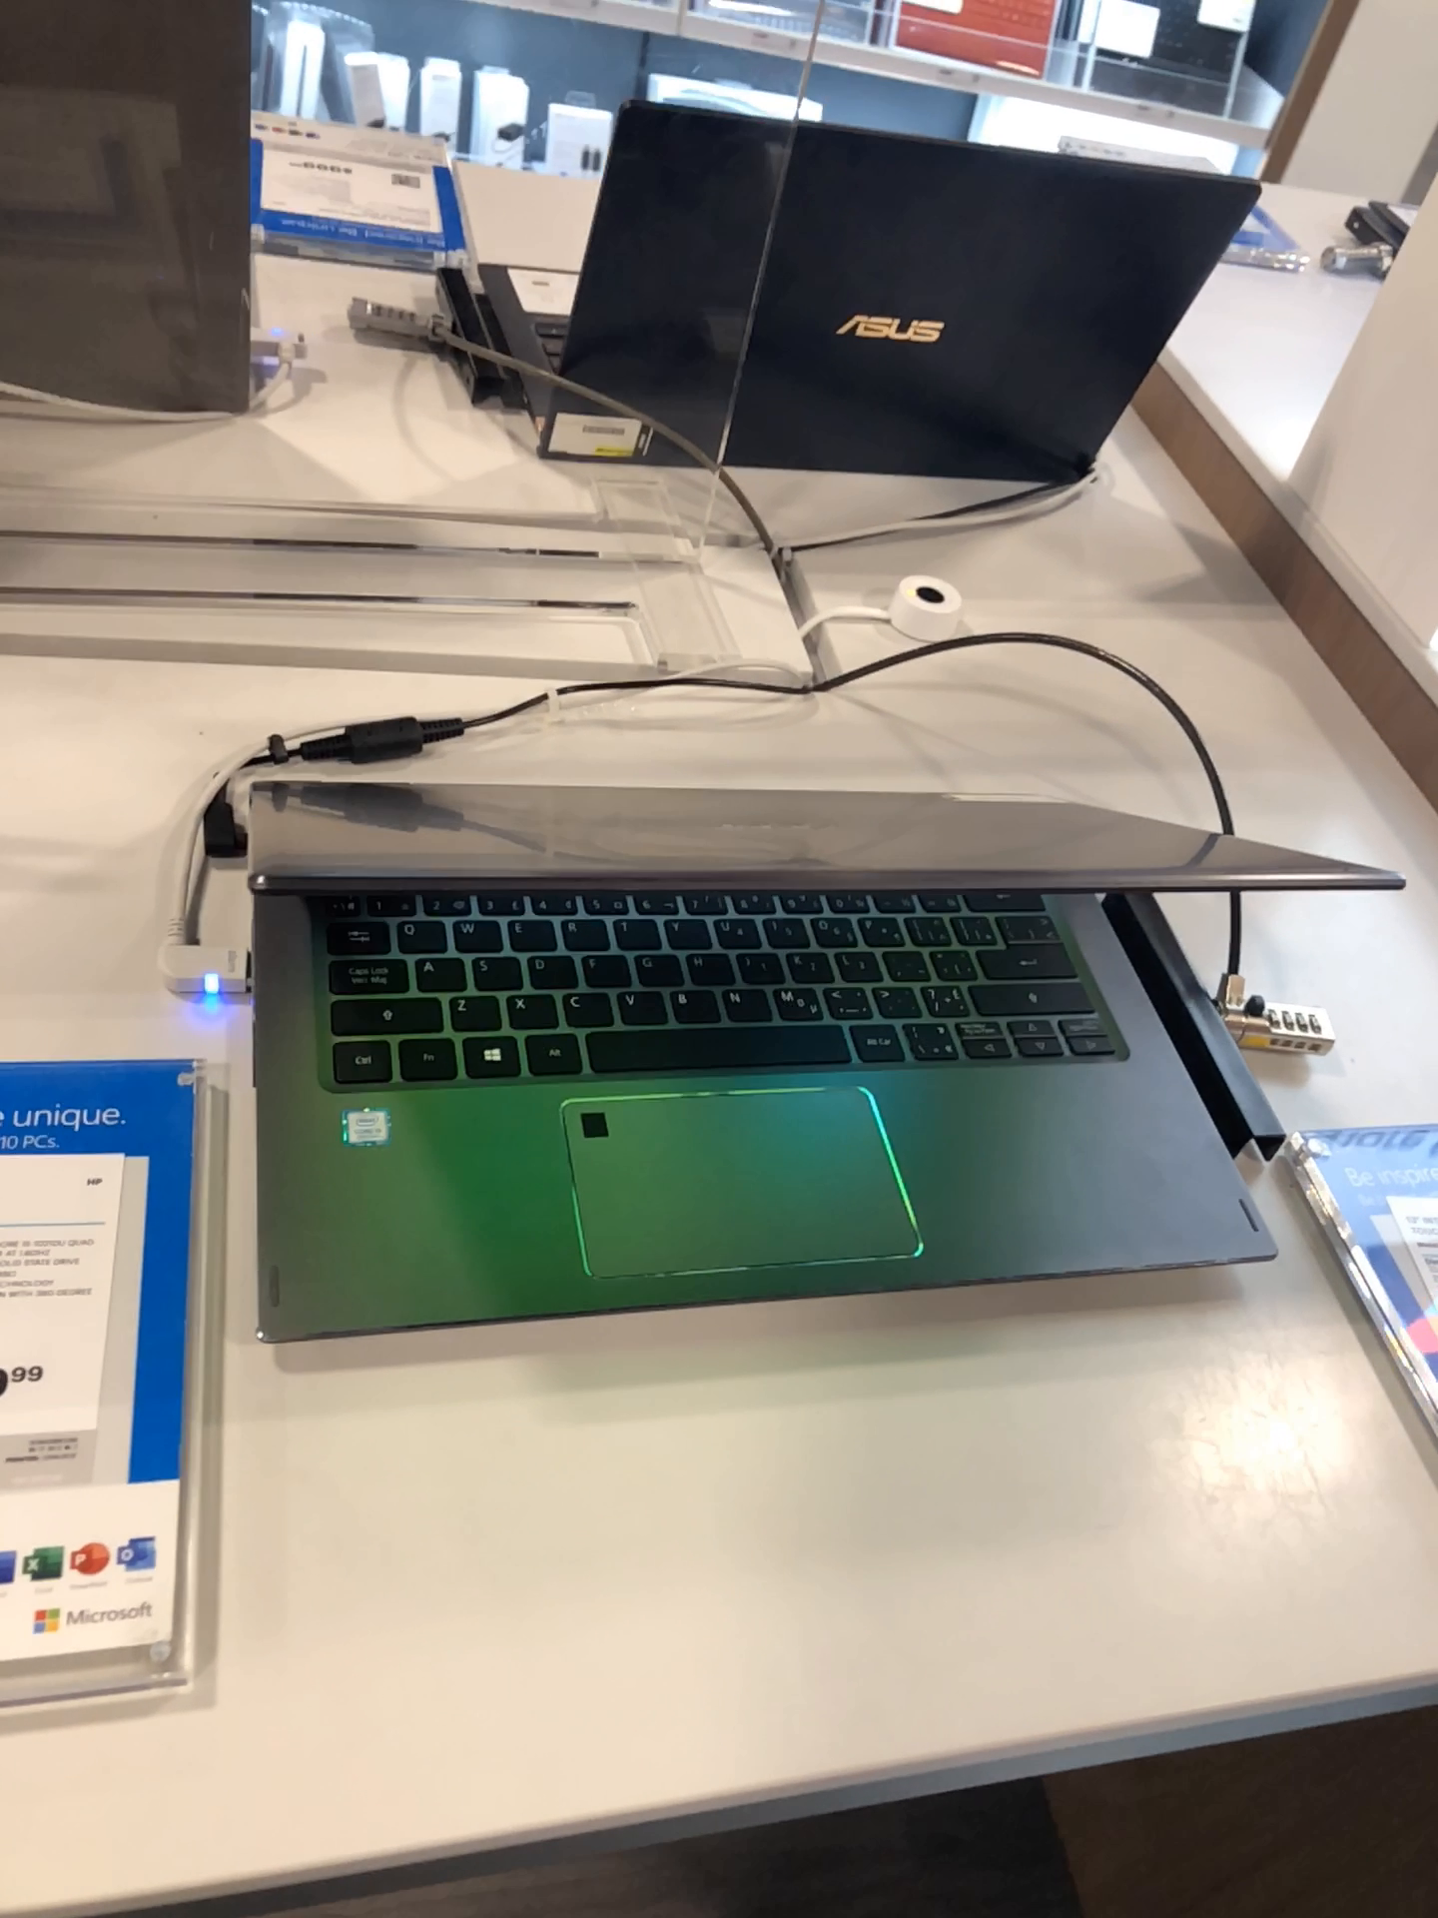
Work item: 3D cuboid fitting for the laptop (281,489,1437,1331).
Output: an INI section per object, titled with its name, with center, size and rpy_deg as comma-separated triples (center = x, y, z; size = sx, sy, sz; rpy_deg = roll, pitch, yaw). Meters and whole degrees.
[laptop]
center = 0.022, -0.024, 0.486
size = 0.301, 0.123, 0.212
rpy_deg = -1, 46, -16
